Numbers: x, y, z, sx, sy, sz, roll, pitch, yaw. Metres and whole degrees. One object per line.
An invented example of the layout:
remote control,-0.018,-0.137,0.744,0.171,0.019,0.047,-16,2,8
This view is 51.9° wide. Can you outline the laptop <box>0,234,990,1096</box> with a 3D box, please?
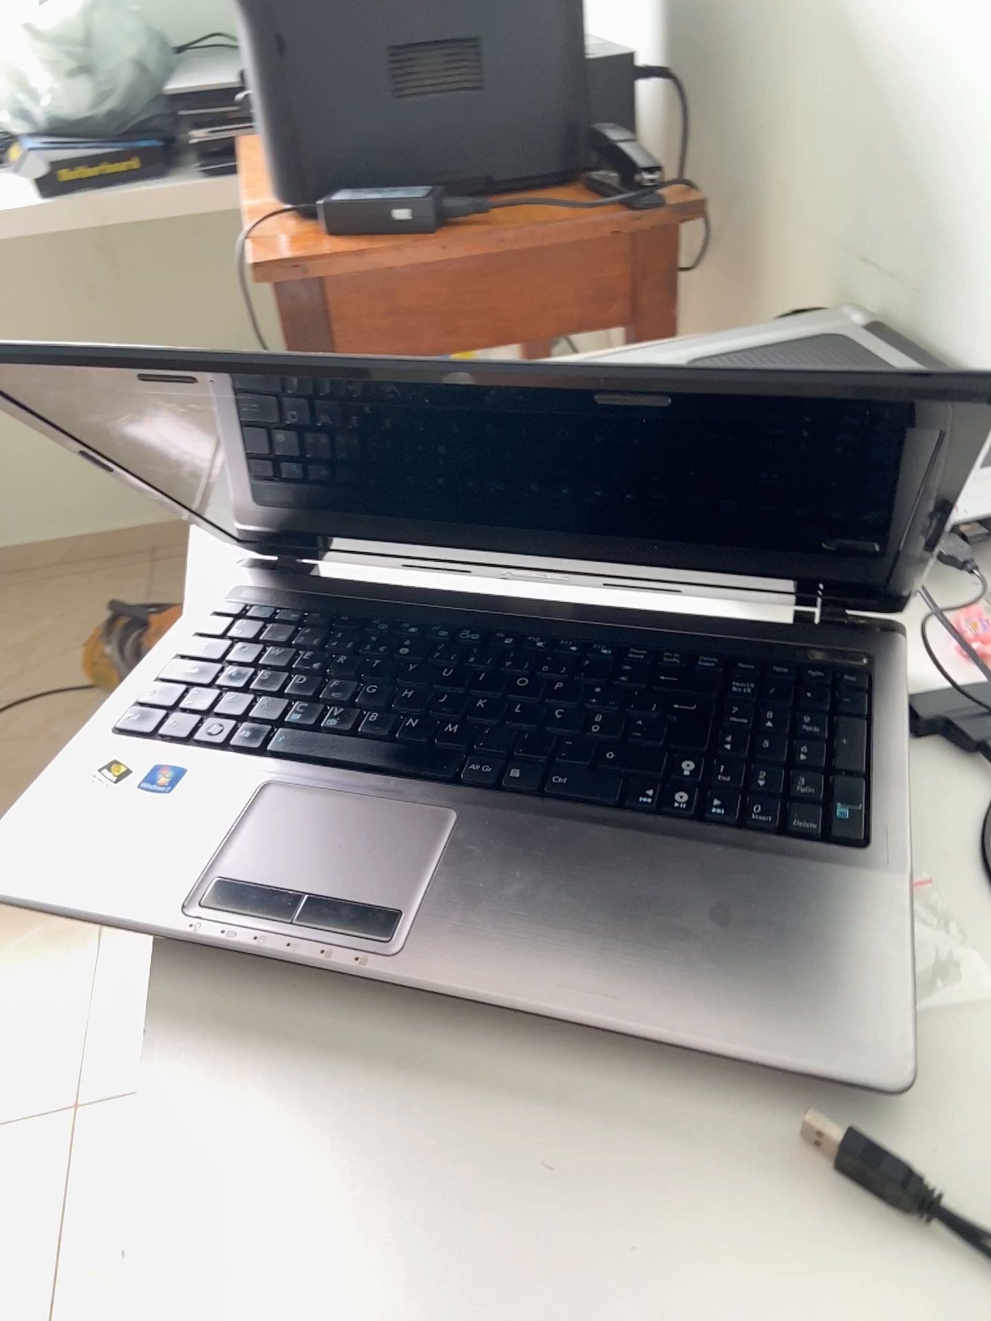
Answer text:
laptop,-0.025,-0.035,0.408,0.376,0.182,0.247,6,39,17
